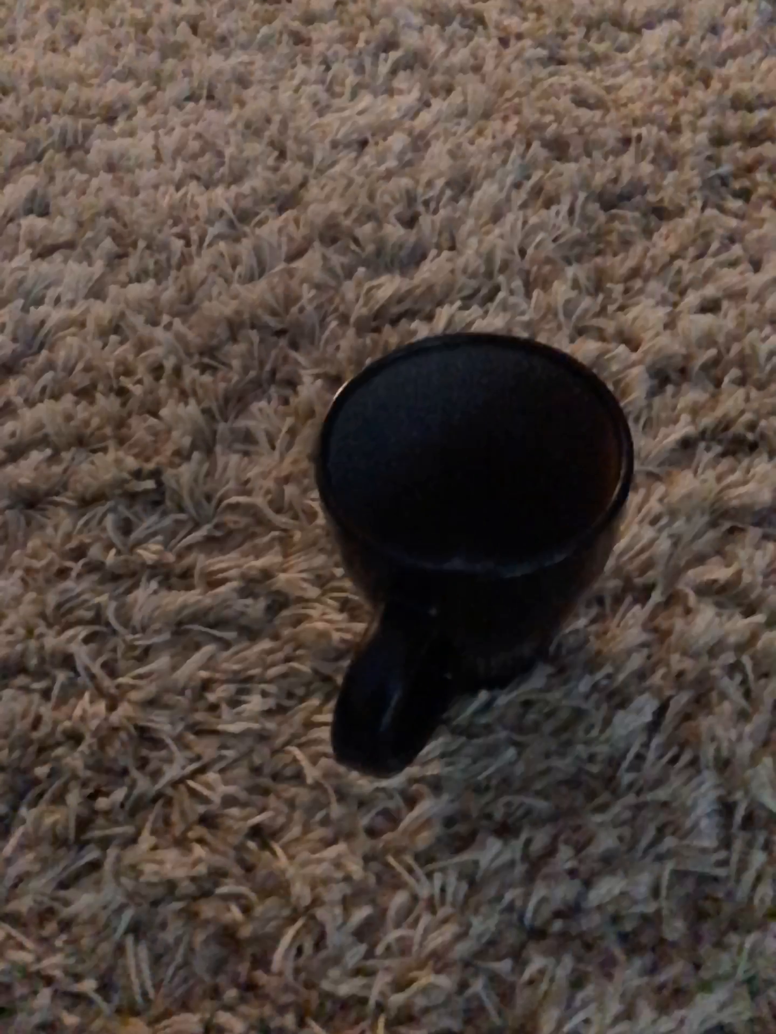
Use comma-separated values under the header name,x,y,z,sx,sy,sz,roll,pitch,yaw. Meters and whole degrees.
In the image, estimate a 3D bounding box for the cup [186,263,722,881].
name,x,y,z,sx,sy,sz,roll,pitch,yaw
cup,0.027,0.010,0.259,0.090,0.090,0.141,20,56,19
